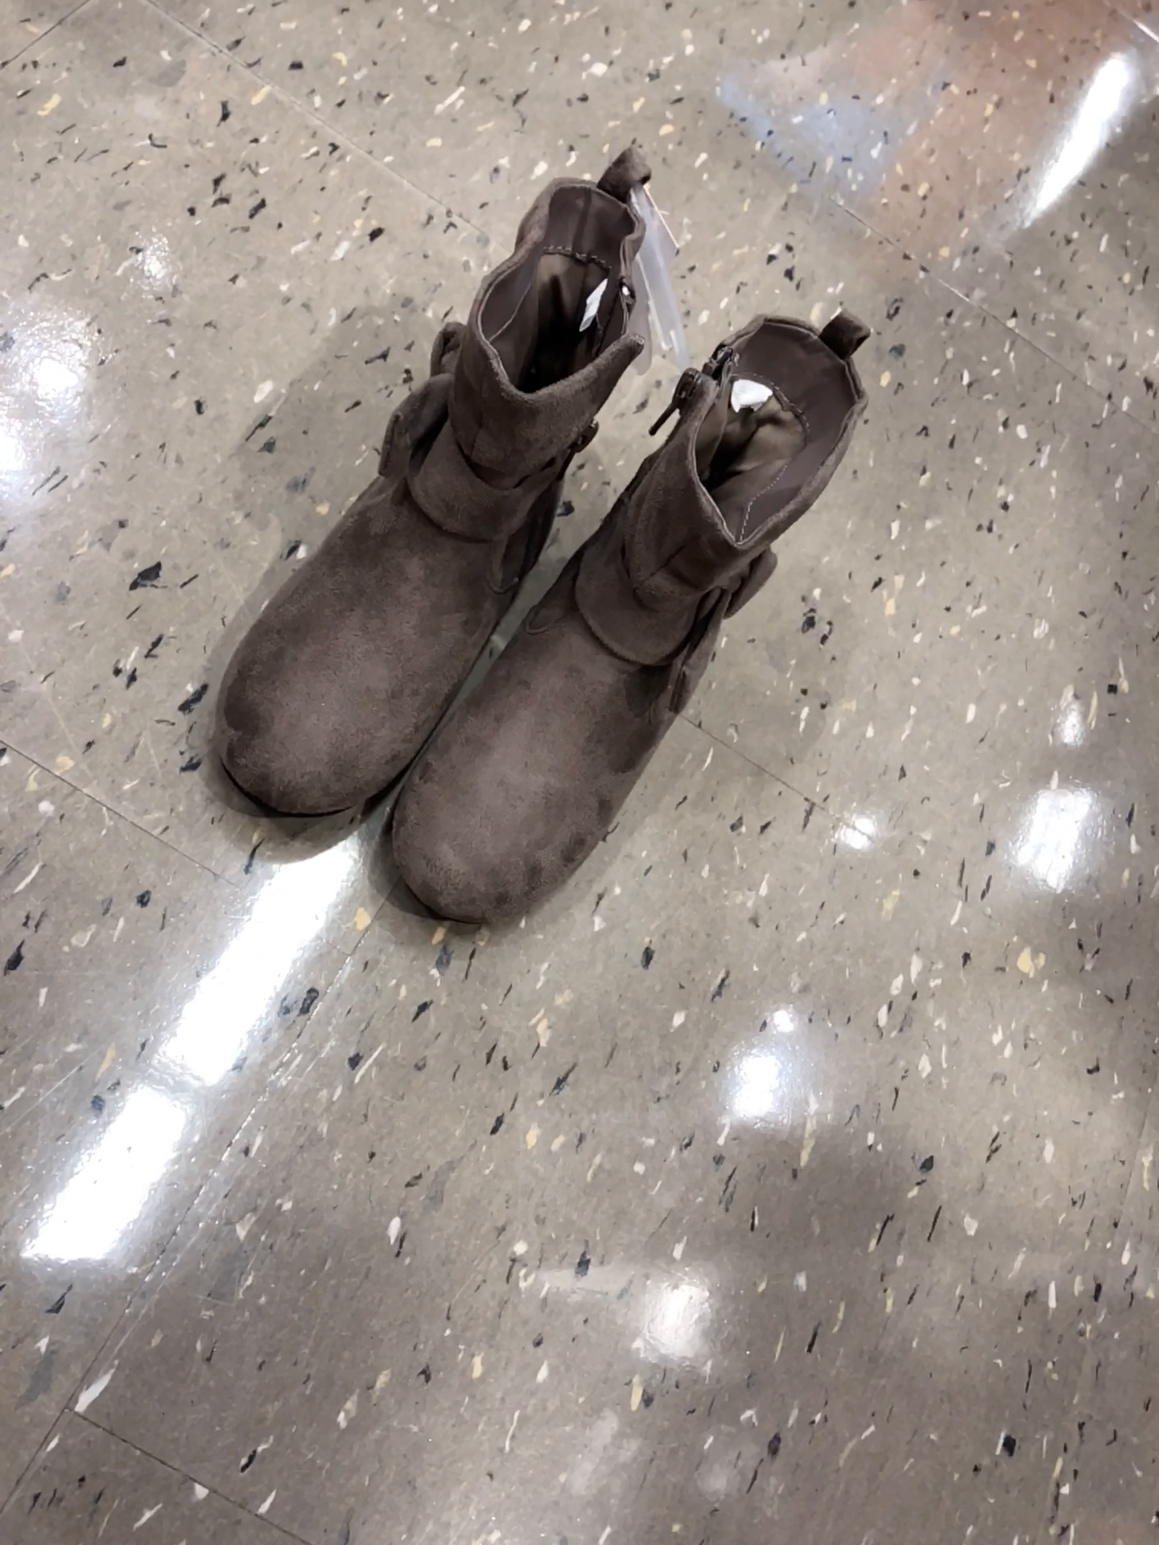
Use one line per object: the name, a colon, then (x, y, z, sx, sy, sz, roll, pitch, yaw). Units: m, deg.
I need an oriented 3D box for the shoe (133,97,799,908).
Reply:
shoe: (-0.041, -0.078, 0.411, 0.080, 0.160, 0.200, 36, 62, -4)

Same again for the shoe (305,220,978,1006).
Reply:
shoe: (0.015, -0.044, 0.417, 0.080, 0.160, 0.200, 36, 62, -4)
